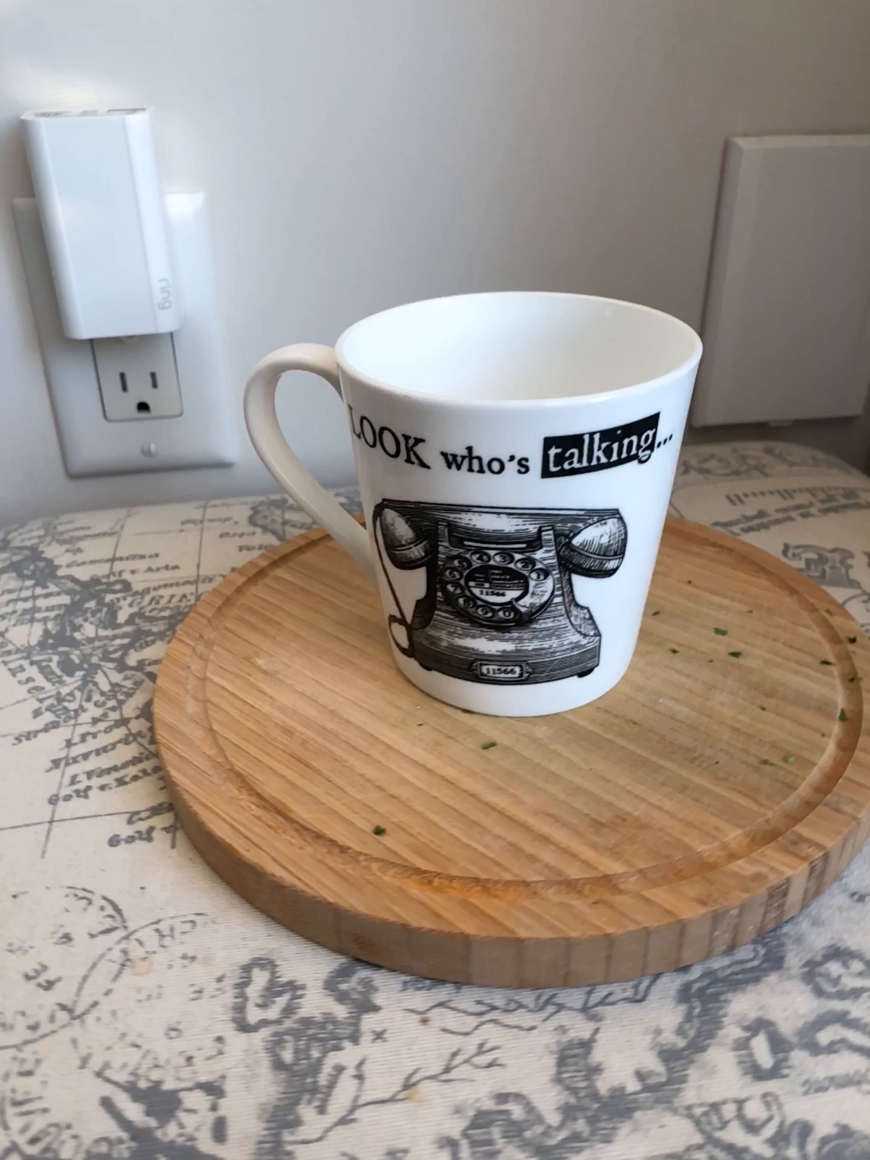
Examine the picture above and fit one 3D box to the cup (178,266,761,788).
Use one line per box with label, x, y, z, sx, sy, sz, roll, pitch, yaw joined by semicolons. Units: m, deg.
cup;0.011;-0.024;0.257;0.111;0.086;0.091;16;33;27
